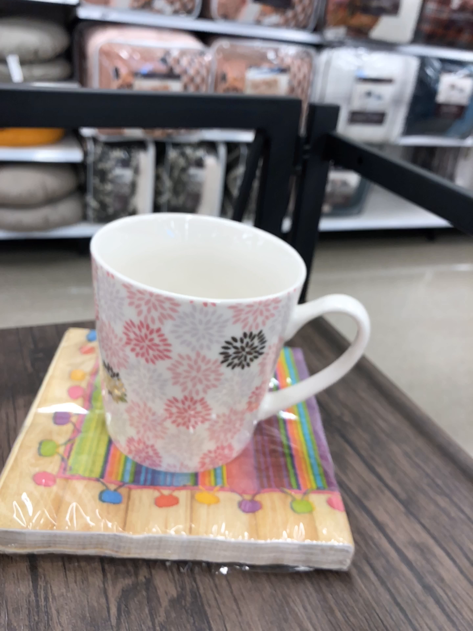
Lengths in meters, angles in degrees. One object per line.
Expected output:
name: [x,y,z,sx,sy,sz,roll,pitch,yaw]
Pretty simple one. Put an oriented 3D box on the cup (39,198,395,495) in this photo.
cup: [-0.010,0.011,0.279,0.140,0.100,0.100,7,29,-1]
